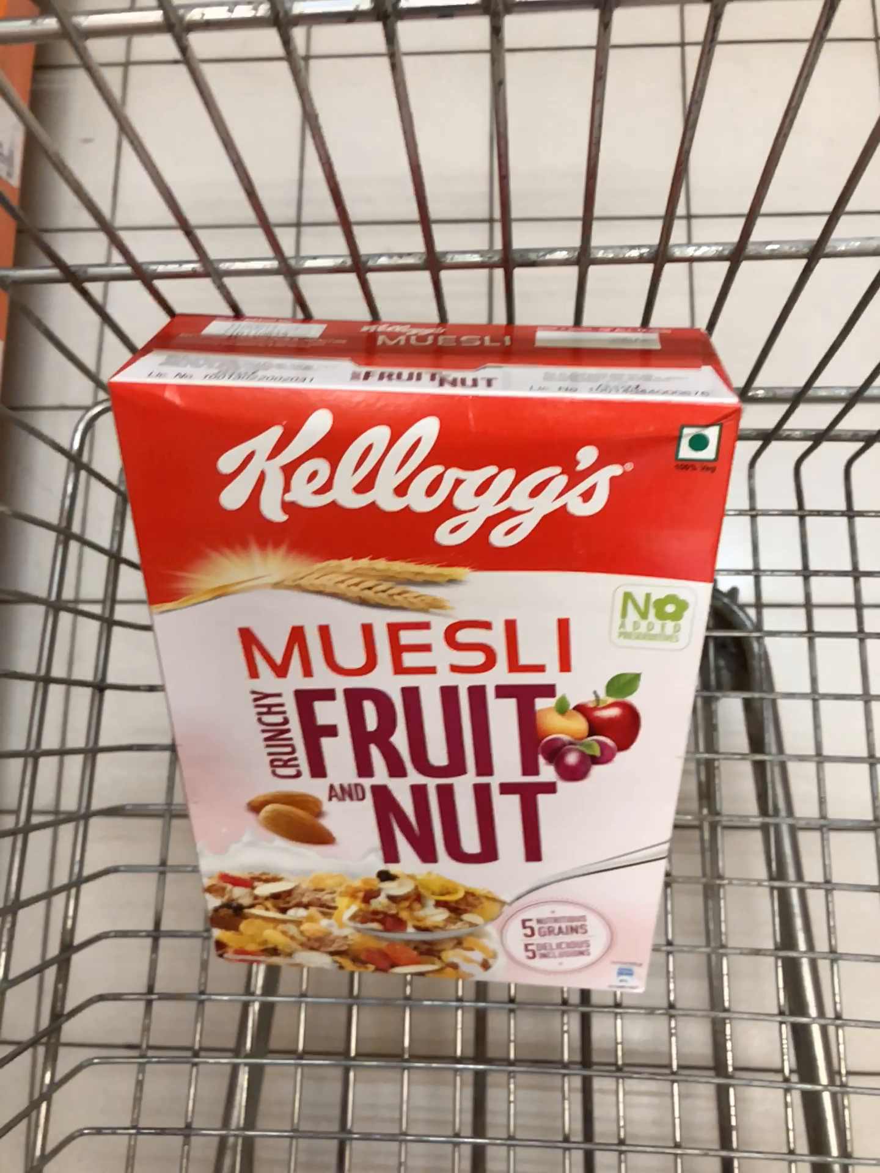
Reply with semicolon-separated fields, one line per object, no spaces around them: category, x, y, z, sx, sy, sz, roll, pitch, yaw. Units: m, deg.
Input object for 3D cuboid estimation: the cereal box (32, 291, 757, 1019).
cereal box;-0.011;0.039;0.358;0.190;0.070;0.269;3;124;4
